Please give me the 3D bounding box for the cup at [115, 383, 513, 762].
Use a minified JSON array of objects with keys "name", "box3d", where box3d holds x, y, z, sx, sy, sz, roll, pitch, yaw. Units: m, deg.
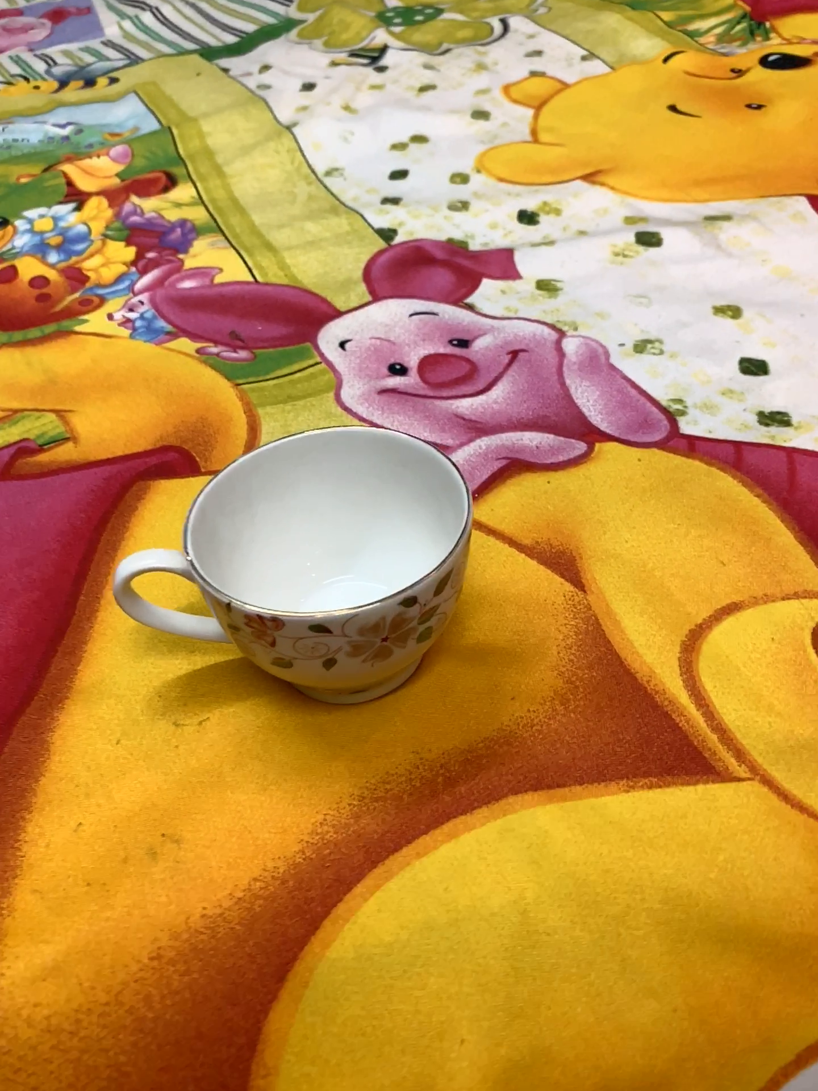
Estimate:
[{"name":"cup","box3d":[-0.028,0.006,0.263,0.100,0.060,0.081,-11,44,-3]}]
